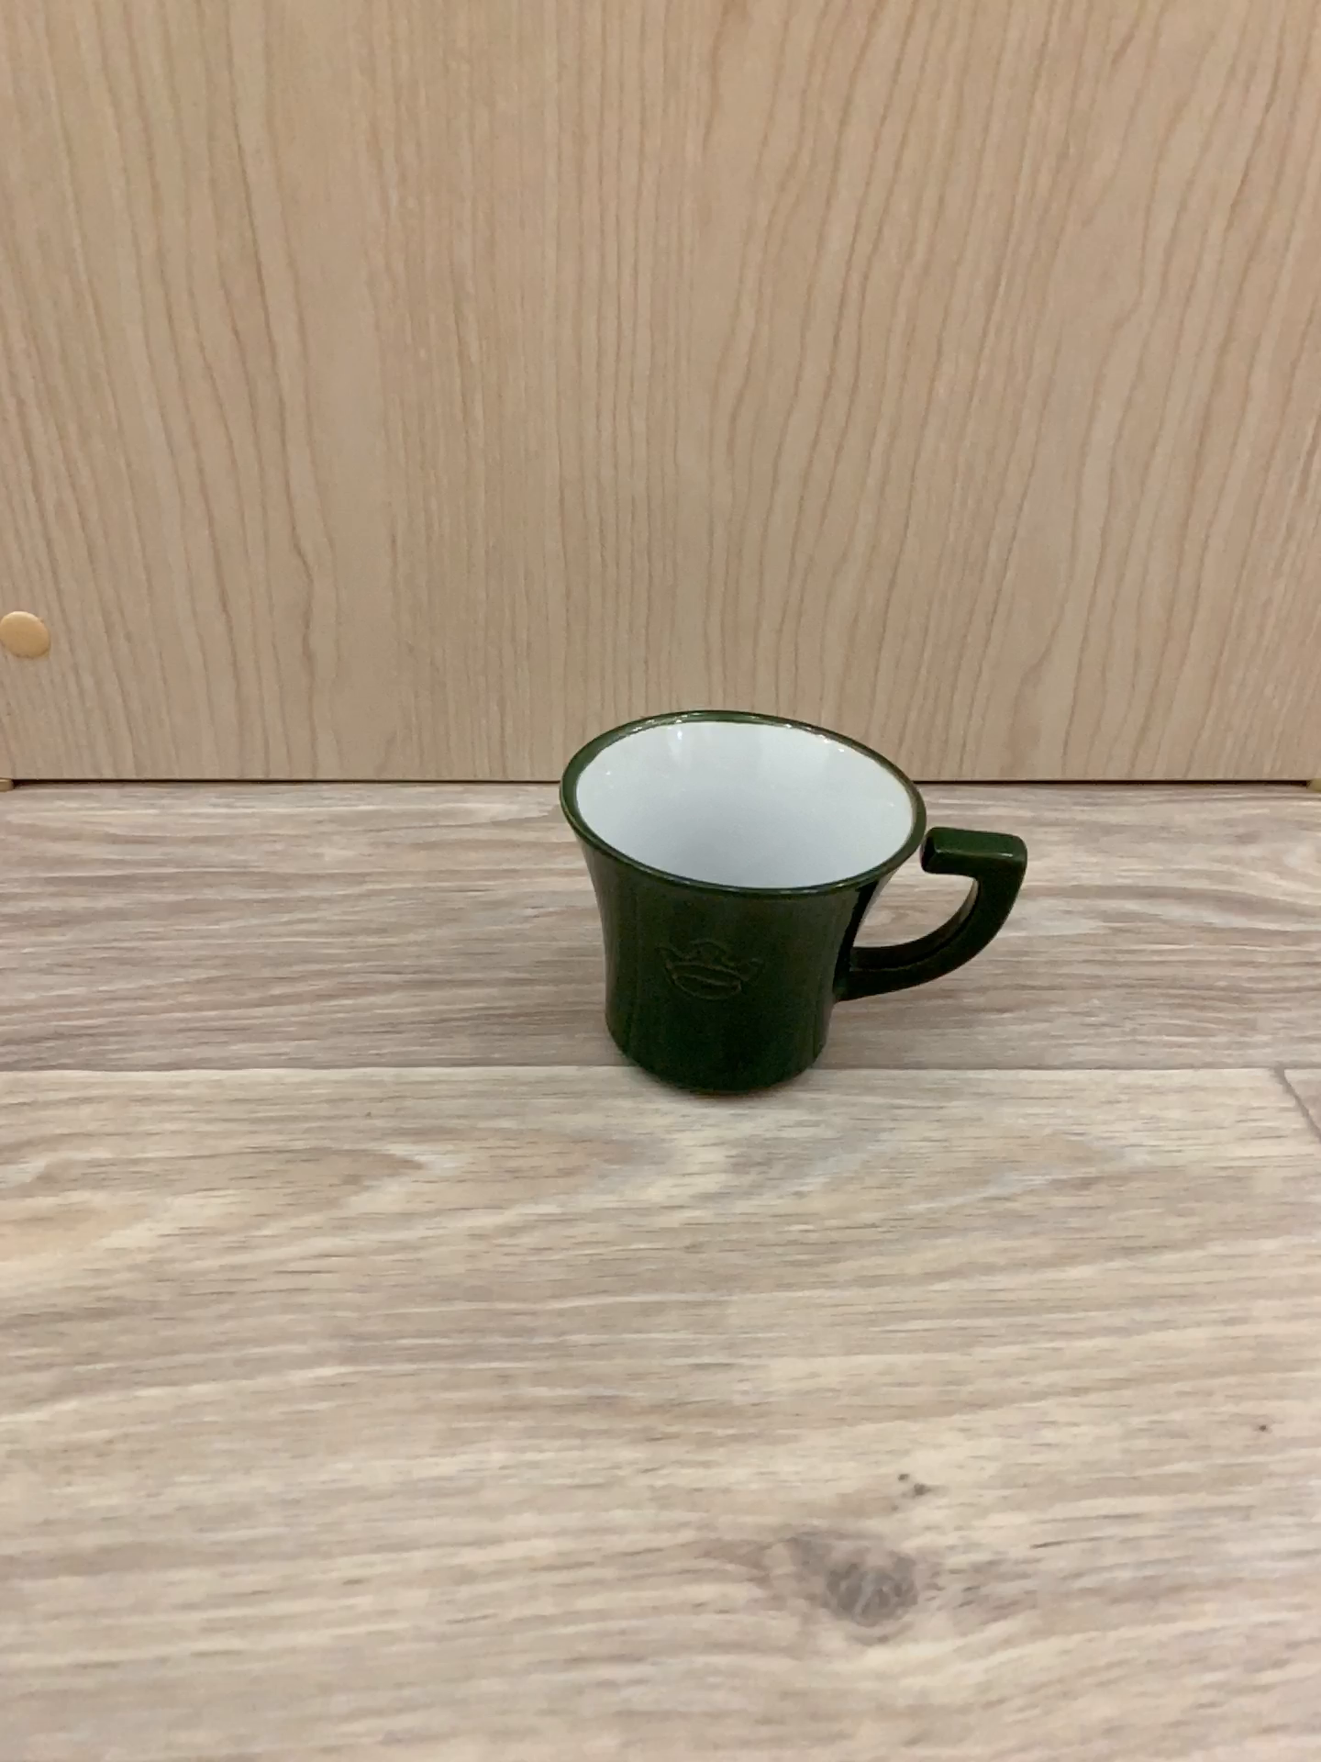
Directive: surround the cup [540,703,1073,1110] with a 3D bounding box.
[{"bbox_3d":[0.027,0.004,0.318,0.106,0.061,0.075,1,33,-2],"label":"cup"}]
